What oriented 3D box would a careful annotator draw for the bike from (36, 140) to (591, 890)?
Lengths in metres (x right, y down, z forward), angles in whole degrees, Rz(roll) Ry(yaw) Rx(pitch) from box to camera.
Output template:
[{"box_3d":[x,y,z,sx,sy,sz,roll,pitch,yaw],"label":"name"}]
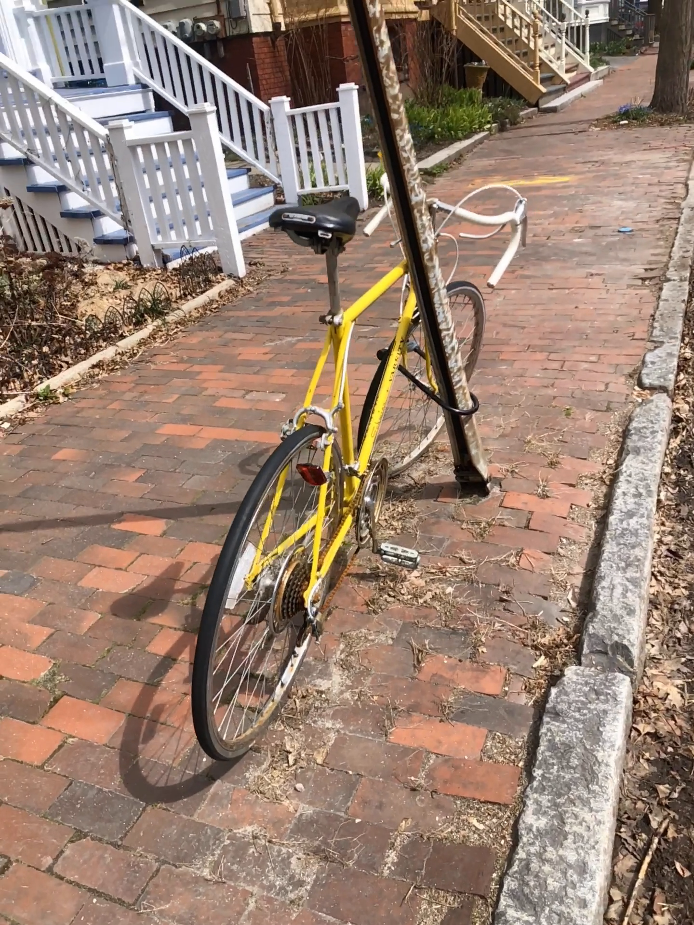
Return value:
[{"box_3d":[0.172,-0.119,1.861,0.523,0.854,1.712,6,34,26],"label":"bike"}]
